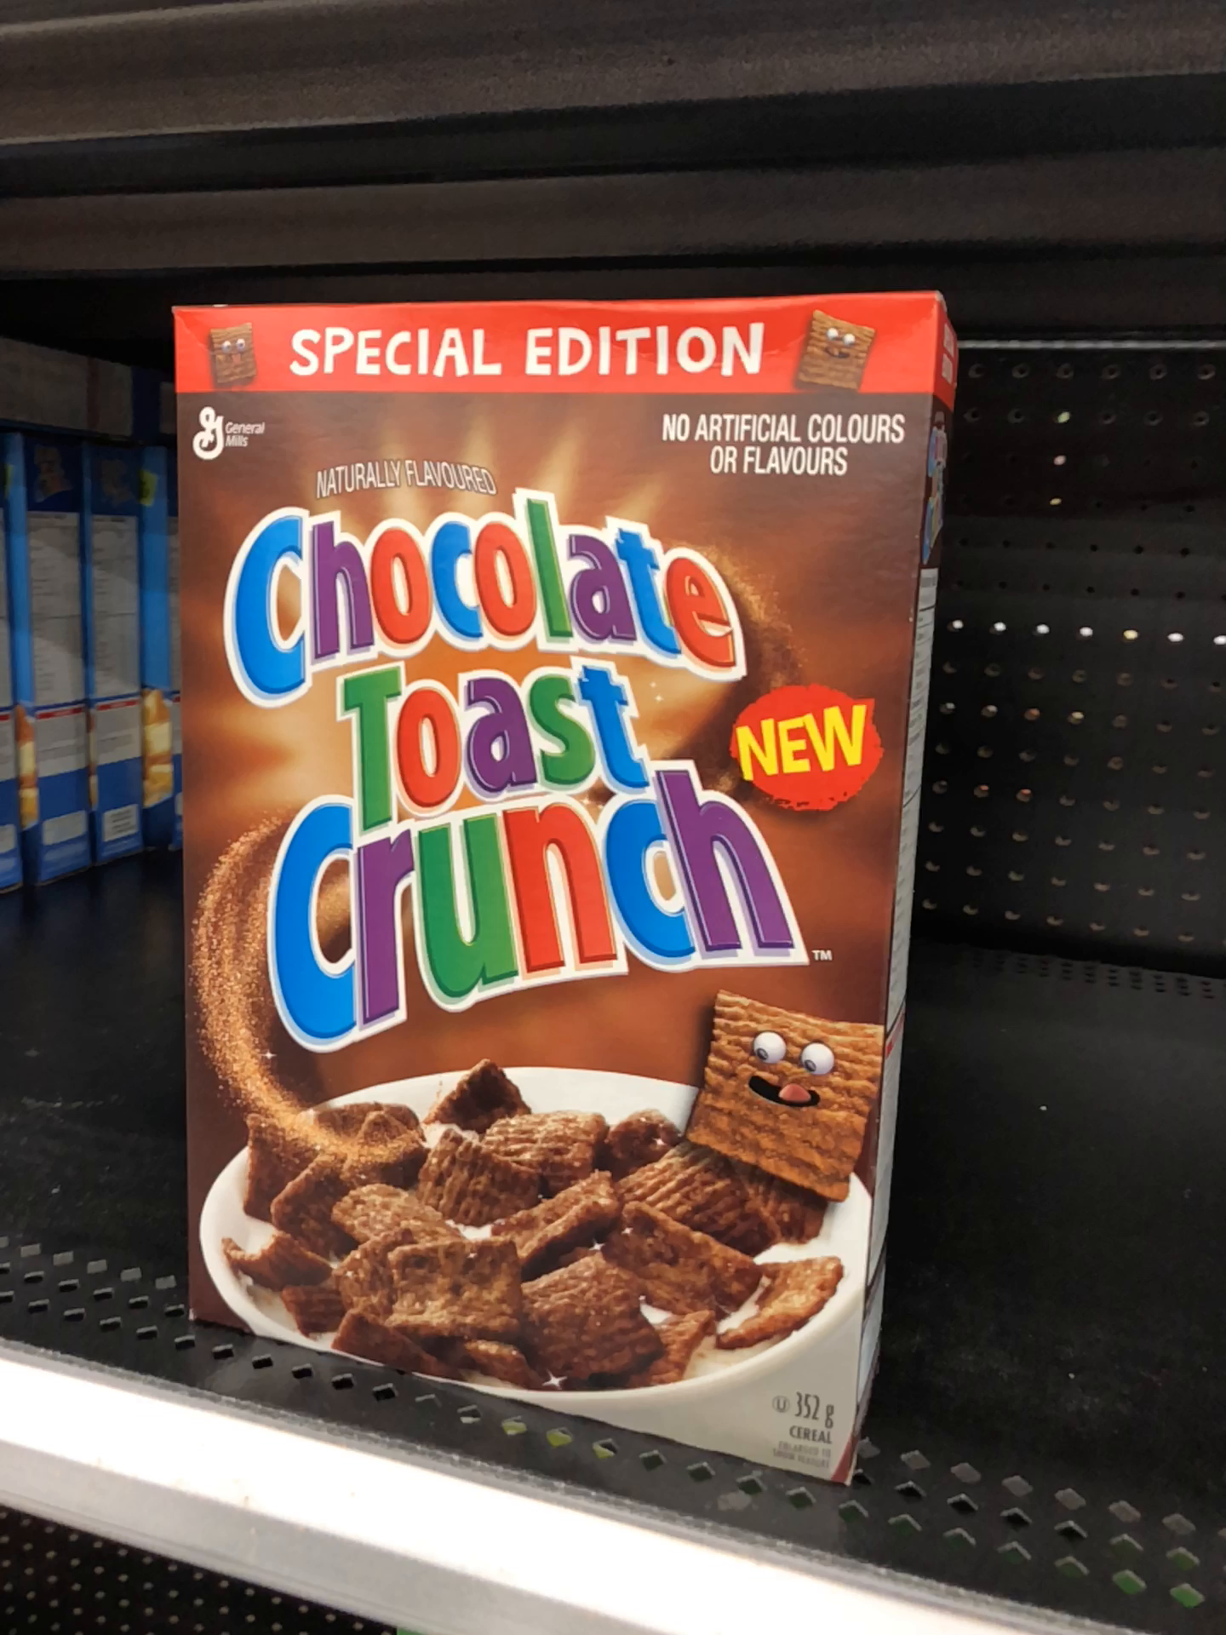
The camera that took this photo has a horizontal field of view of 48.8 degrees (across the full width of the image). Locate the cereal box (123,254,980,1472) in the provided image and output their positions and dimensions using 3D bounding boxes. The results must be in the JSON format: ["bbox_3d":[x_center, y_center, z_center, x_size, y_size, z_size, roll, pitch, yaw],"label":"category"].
[{"bbox_3d":[-0.022,0.006,0.346,0.200,0.269,0.050,6,11,18],"label":"cereal box"}]
